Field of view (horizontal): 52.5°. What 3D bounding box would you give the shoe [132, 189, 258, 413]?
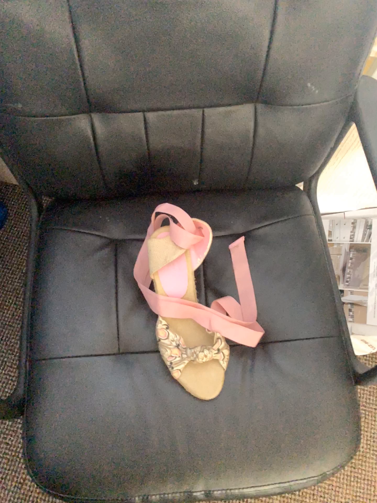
[{"bbox_3d":[-0.002,0.071,0.541,0.100,0.139,0.271,-11,69,-7],"label":"shoe"}]
